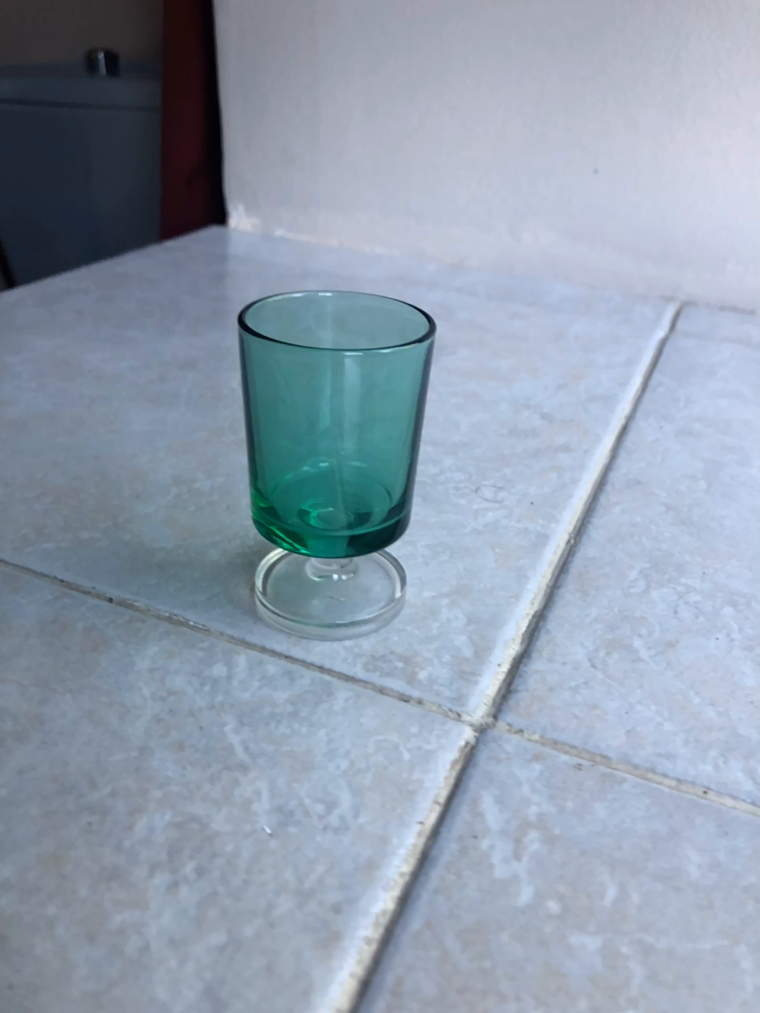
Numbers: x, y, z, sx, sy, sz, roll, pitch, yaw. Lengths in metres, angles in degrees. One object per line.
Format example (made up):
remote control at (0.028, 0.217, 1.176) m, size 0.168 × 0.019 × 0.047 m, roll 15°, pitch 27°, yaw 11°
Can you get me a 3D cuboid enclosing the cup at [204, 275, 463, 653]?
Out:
cup at (-0.012, -0.011, 0.190) m, size 0.044 × 0.068 × 0.045 m, roll 1°, pitch 28°, yaw 0°
